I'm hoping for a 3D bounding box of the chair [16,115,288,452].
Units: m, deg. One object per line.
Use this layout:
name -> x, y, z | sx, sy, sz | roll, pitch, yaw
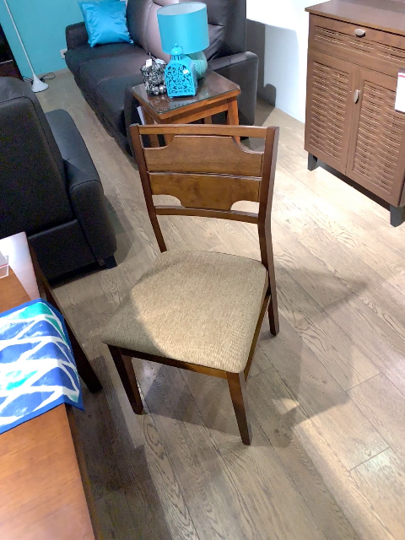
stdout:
chair -> -0.030, 0.052, 1.250 | 0.471, 0.827, 0.532 | 9, 46, 20
